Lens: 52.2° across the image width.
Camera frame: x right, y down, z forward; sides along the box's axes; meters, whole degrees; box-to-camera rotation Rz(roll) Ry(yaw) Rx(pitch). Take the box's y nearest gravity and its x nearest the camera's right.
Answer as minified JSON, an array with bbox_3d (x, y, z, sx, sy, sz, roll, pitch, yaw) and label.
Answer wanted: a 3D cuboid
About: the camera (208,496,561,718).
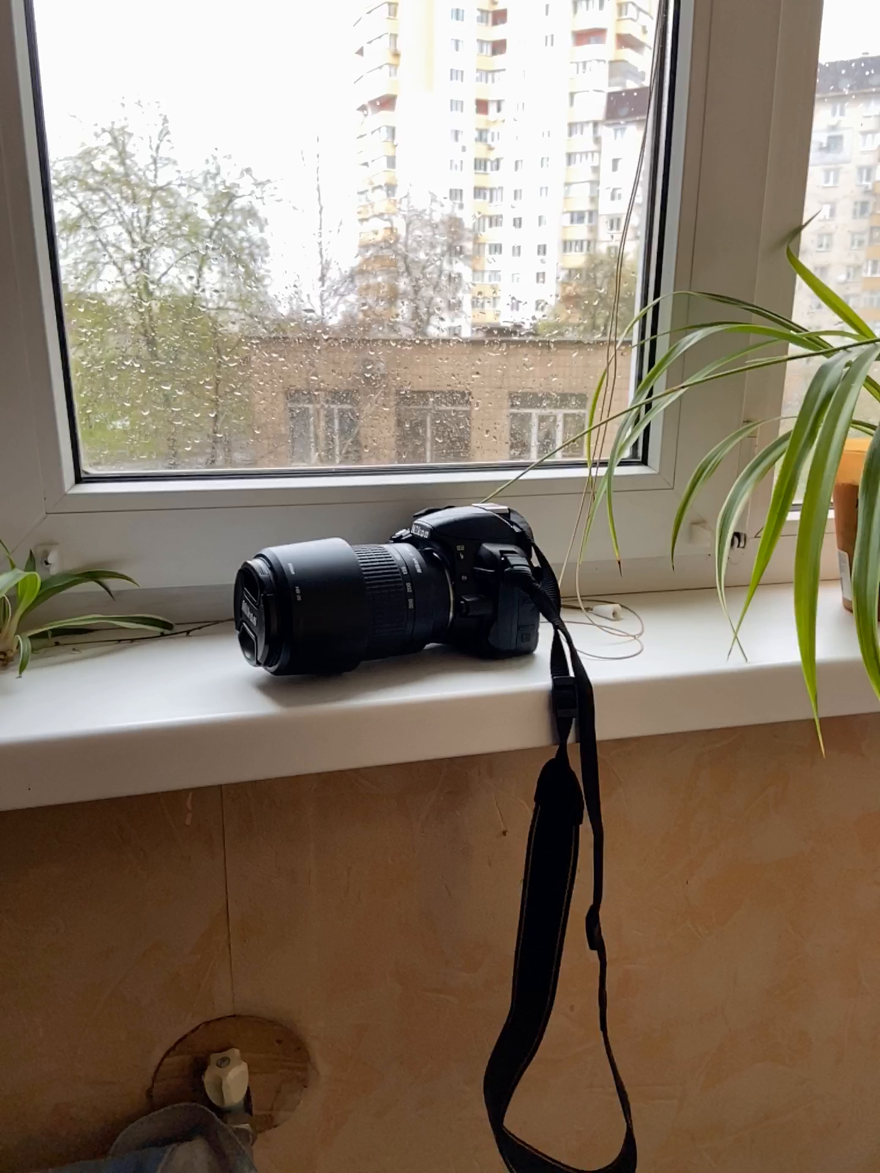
[{"bbox_3d":[-0.037,0.003,0.589,0.190,0.089,0.125,-9,18,-30],"label":"camera"}]
